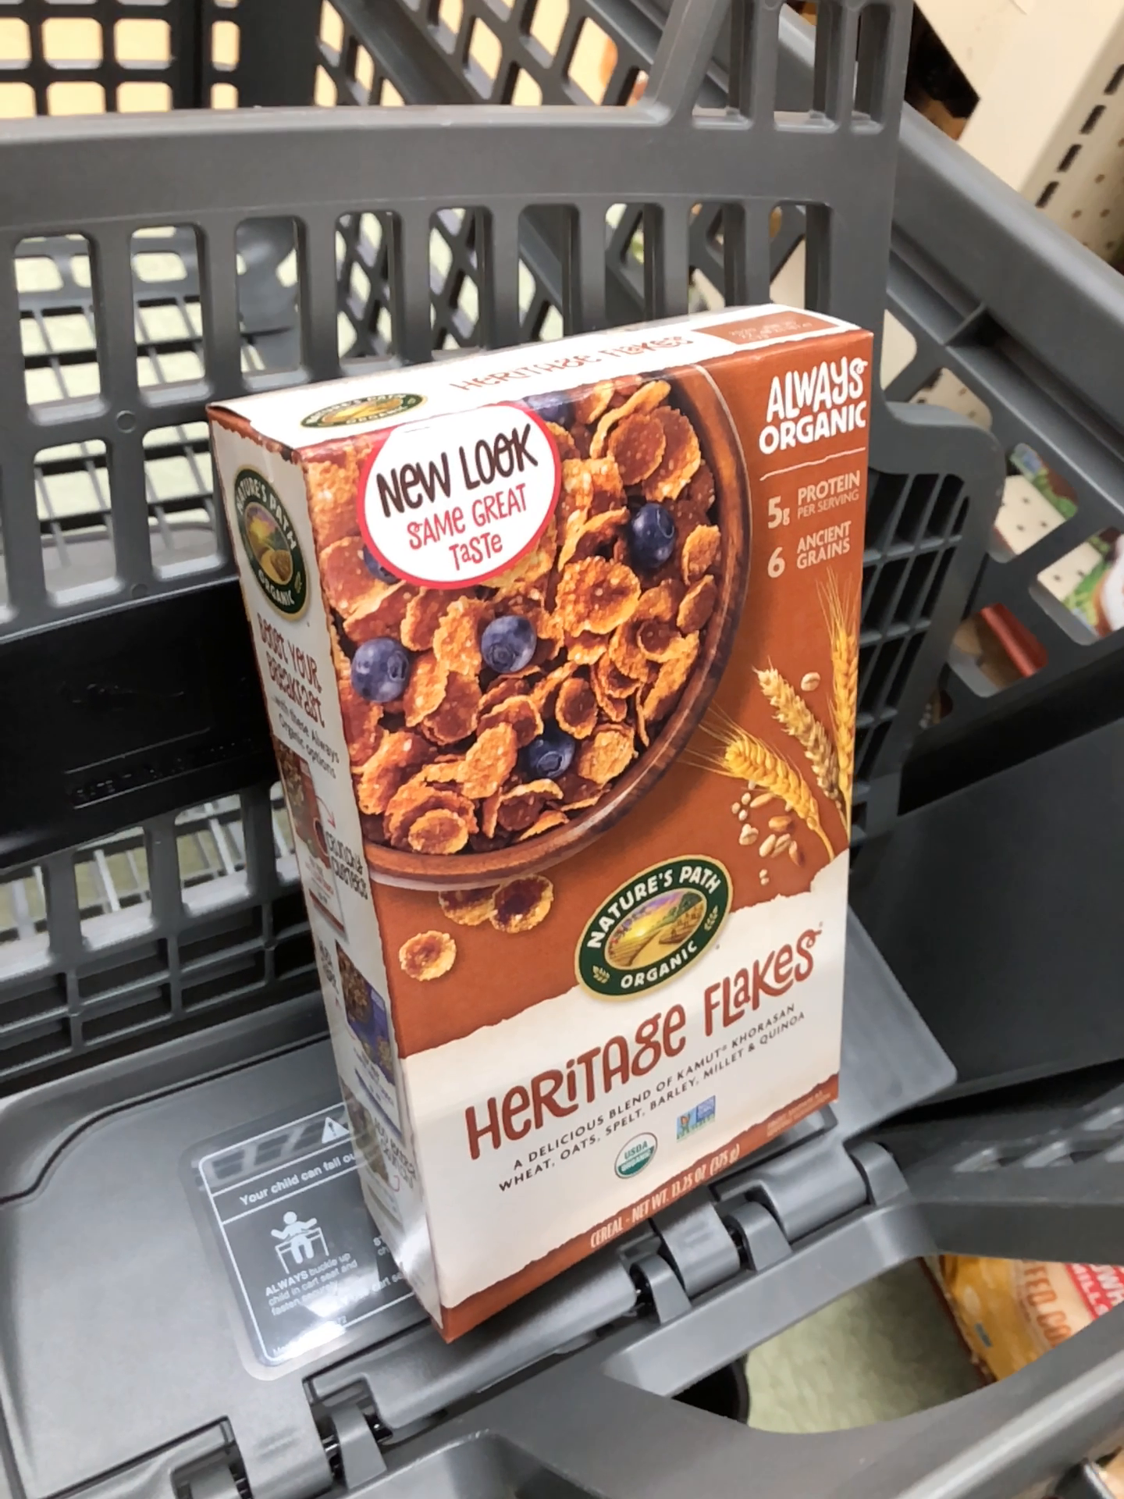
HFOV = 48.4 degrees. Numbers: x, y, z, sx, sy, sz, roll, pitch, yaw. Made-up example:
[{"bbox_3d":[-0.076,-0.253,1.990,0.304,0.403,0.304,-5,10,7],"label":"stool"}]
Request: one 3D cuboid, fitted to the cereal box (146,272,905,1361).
[{"bbox_3d":[0.010,0.014,0.342,0.170,0.250,0.060,-21,29,-28],"label":"cereal box"}]
